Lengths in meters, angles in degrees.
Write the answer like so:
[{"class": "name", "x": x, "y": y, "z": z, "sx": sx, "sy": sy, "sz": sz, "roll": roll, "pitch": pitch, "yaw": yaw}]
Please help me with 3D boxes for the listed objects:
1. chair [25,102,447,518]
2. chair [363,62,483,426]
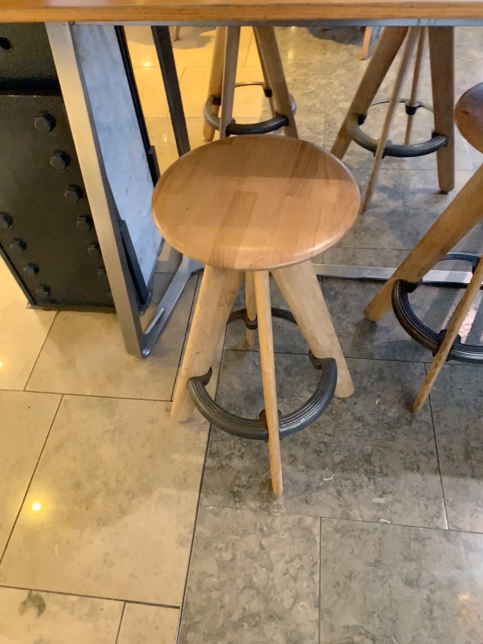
[{"class": "chair", "x": 0.031, "y": 0.008, "z": 1.060, "sx": 0.533, "sy": 0.707, "sz": 0.557, "roll": 3, "pitch": 53, "yaw": 7}, {"class": "chair", "x": 0.573, "y": -0.131, "z": 1.121, "sx": 0.463, "sy": 0.707, "sz": 0.426, "roll": 3, "pitch": 53, "yaw": 7}]
